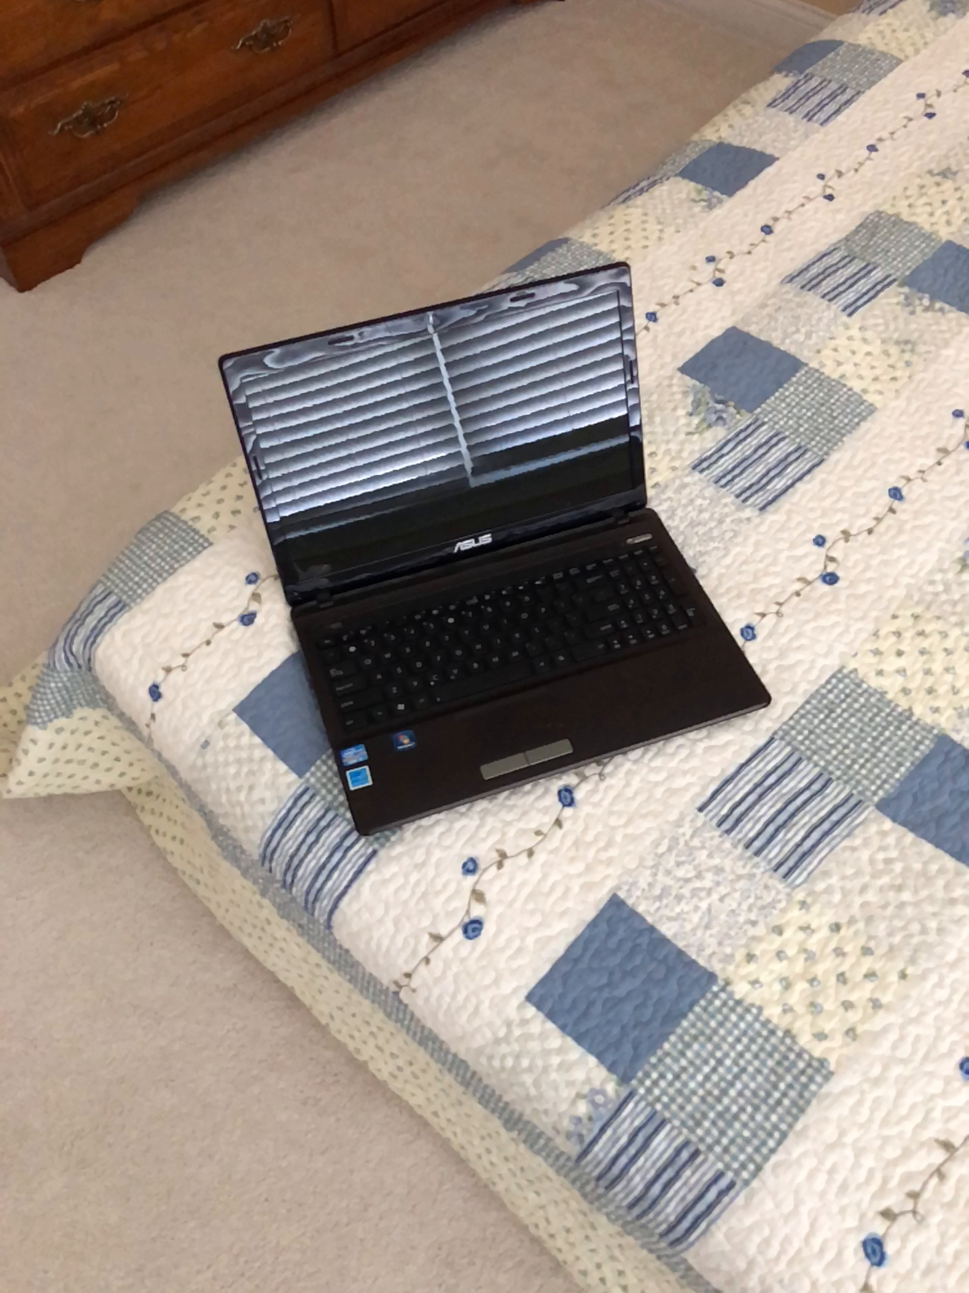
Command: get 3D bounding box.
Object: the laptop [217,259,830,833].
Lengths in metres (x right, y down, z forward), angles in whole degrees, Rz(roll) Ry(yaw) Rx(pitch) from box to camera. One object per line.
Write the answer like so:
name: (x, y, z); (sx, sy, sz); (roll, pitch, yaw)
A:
laptop: (0.012, -0.095, 0.876); (0.358, 0.193, 0.351); (-16, 57, -10)
